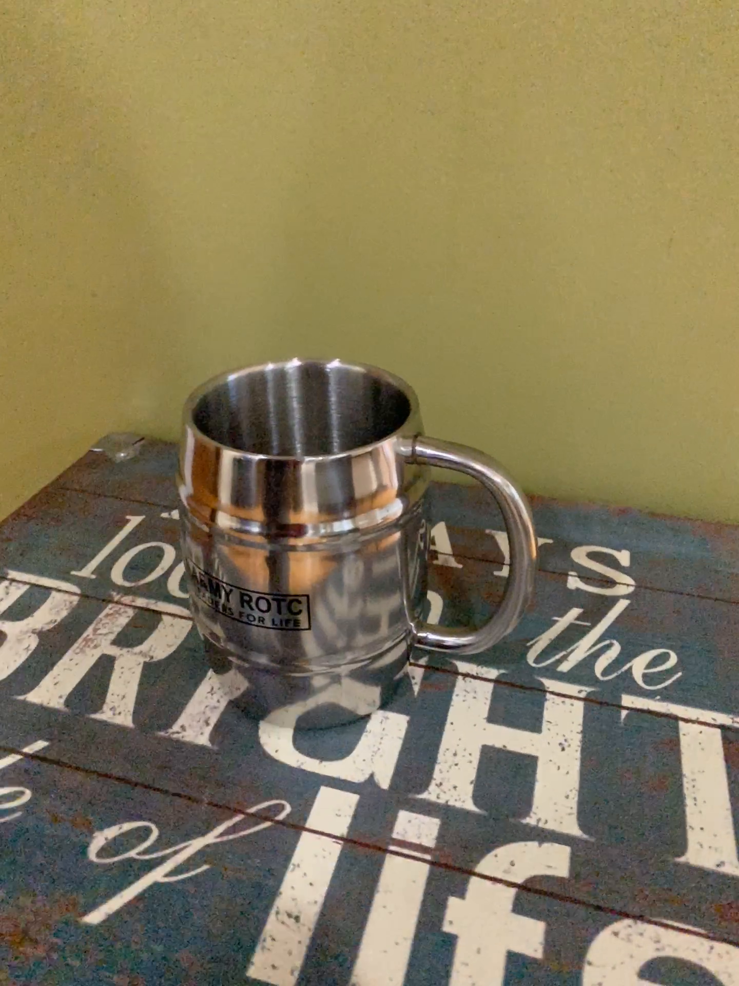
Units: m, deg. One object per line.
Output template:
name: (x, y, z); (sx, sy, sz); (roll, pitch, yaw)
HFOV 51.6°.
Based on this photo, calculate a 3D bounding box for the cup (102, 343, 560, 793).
cup: (-0.006, 0.021, 0.279); (0.128, 0.113, 0.089); (8, 33, 13)
